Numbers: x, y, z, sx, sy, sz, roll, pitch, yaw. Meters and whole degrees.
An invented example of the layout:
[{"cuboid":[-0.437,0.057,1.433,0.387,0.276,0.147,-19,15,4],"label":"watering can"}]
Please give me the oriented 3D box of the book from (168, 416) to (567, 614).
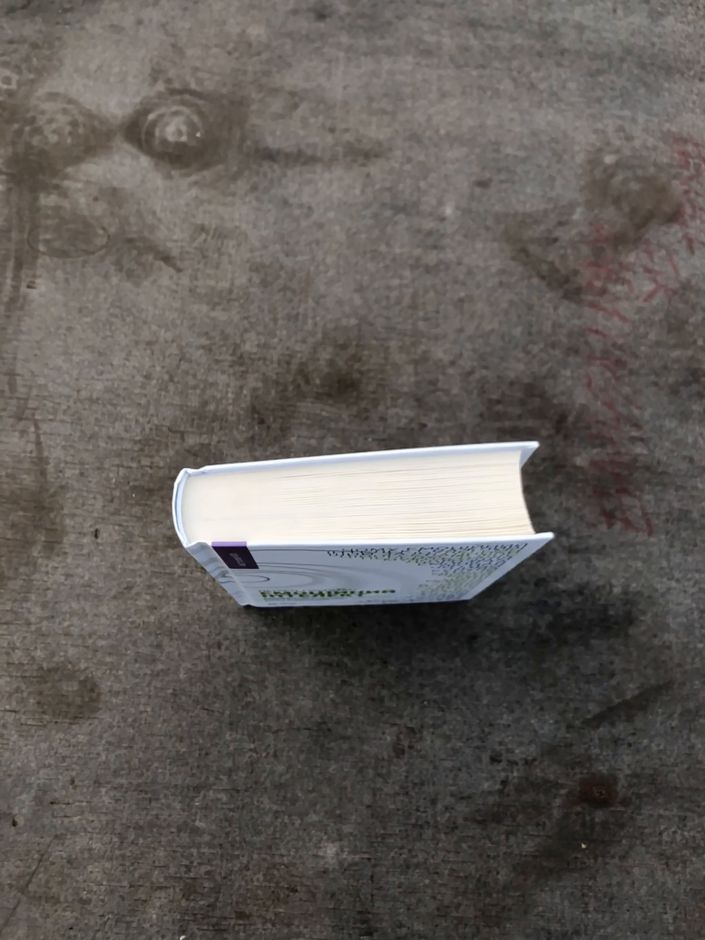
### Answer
[{"cuboid":[0.001,0.035,0.420,0.160,0.209,0.050,-3,73,-3],"label":"book"}]
